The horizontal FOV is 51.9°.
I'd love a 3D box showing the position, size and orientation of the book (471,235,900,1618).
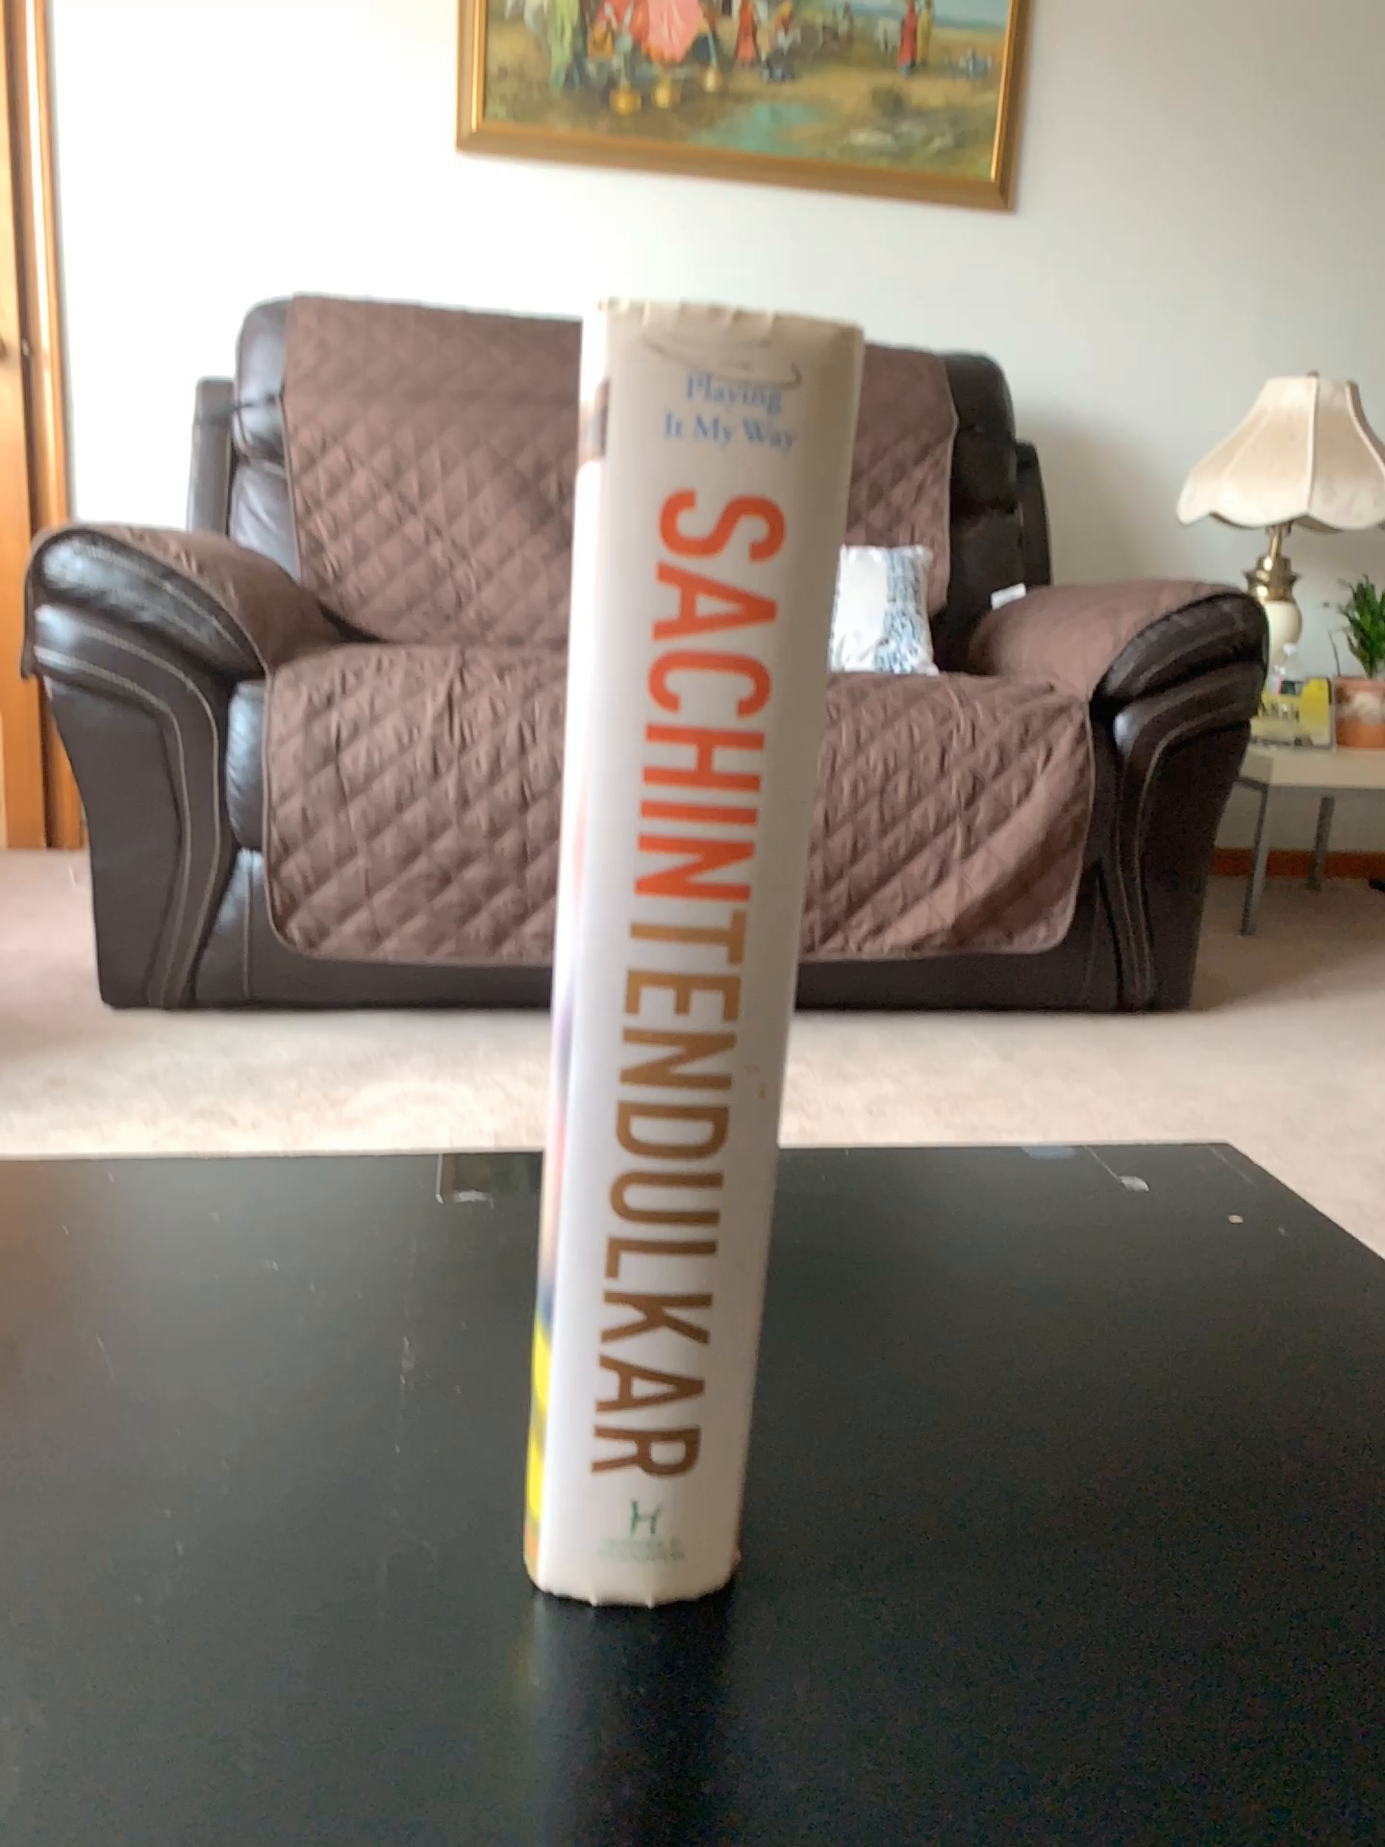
[{"bbox_3d":[-0.006,-0.007,0.325,0.060,0.239,0.171,3,14,-1],"label":"book"}]
